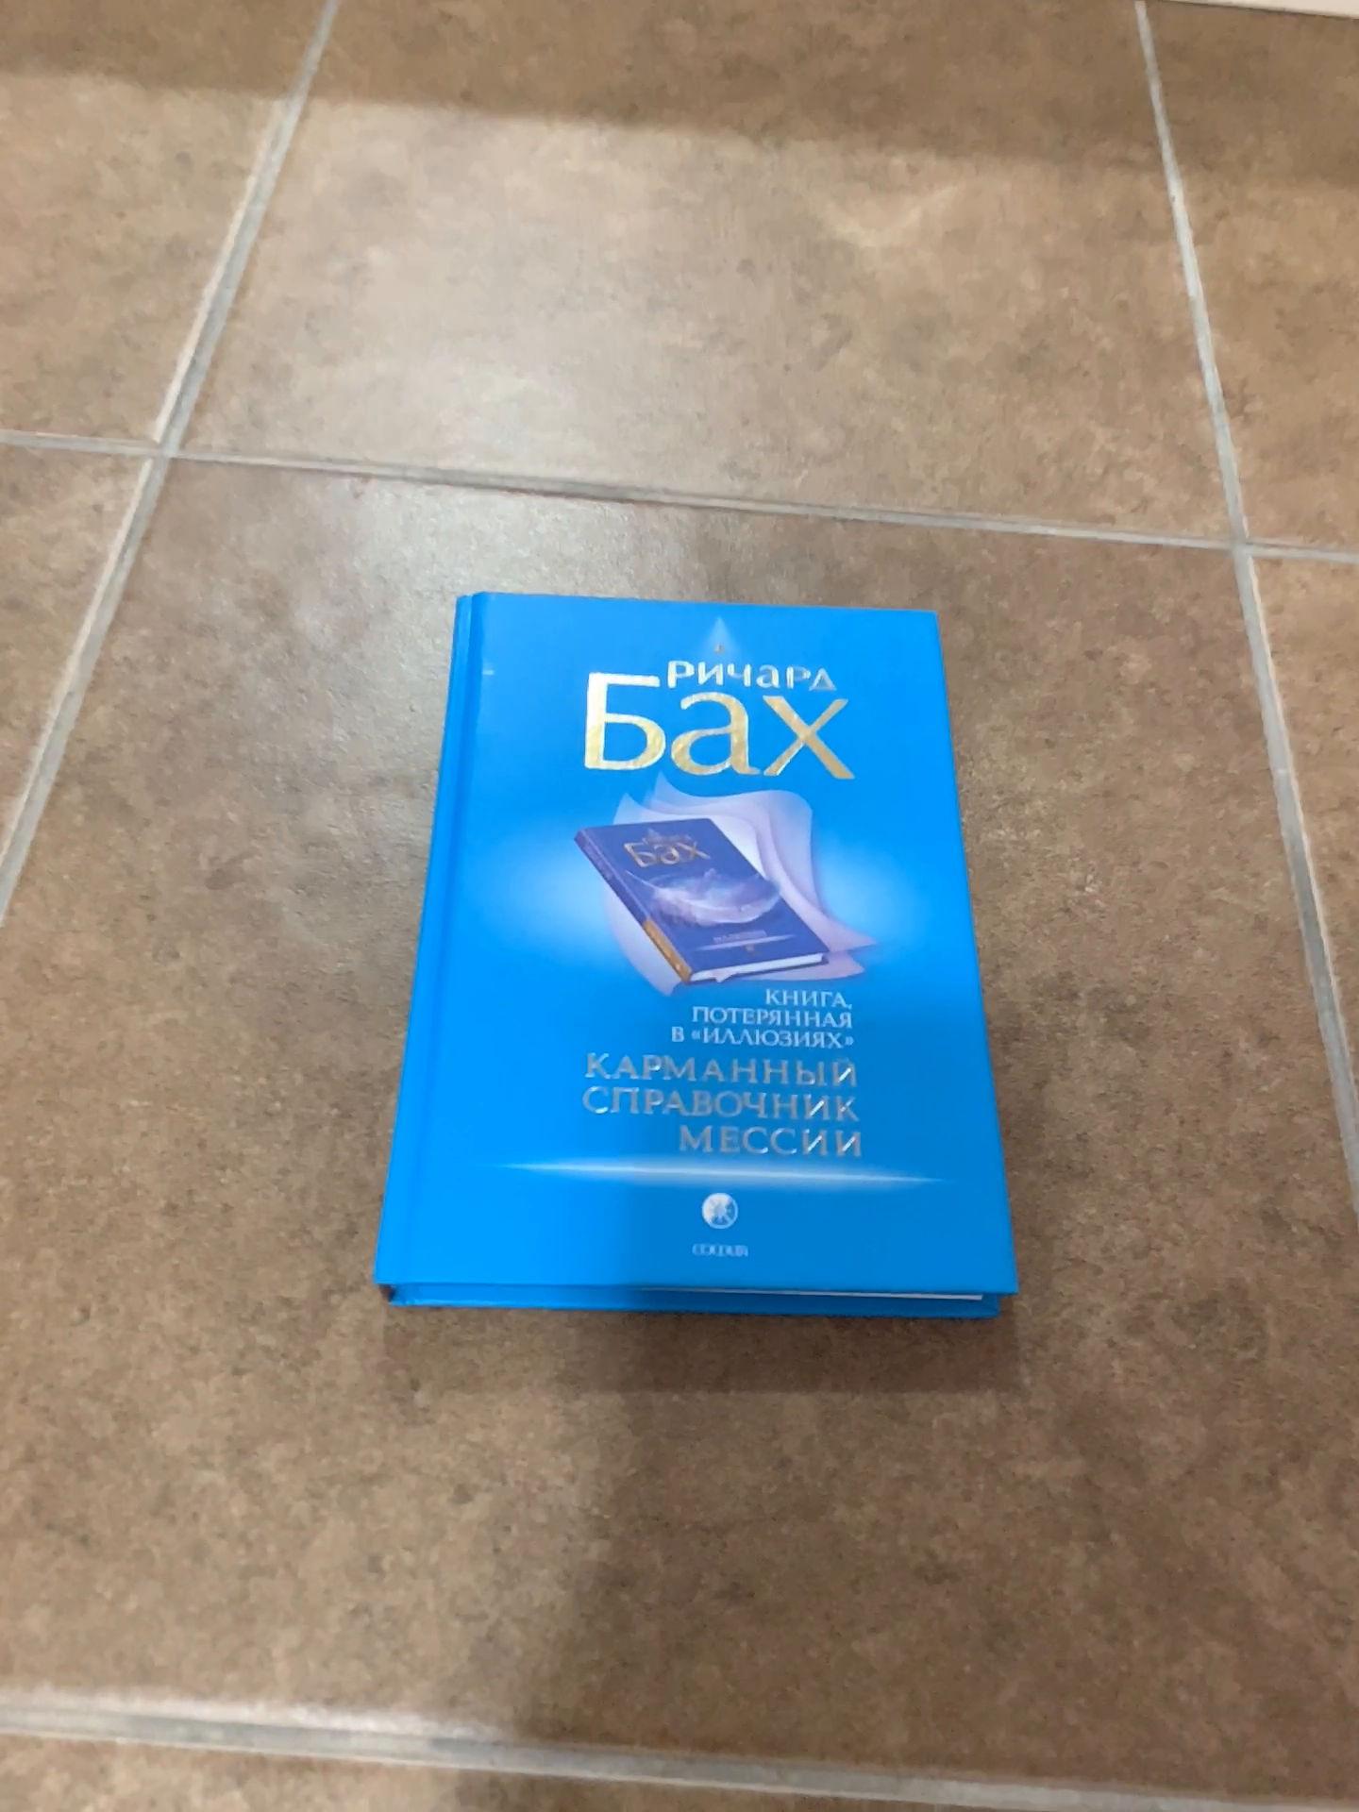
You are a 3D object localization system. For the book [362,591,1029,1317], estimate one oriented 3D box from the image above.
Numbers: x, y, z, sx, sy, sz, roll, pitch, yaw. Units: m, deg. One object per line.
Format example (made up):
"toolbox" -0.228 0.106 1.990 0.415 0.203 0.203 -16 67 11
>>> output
"book" 0.004 0.001 0.305 0.122 0.015 0.169 2 59 -2
